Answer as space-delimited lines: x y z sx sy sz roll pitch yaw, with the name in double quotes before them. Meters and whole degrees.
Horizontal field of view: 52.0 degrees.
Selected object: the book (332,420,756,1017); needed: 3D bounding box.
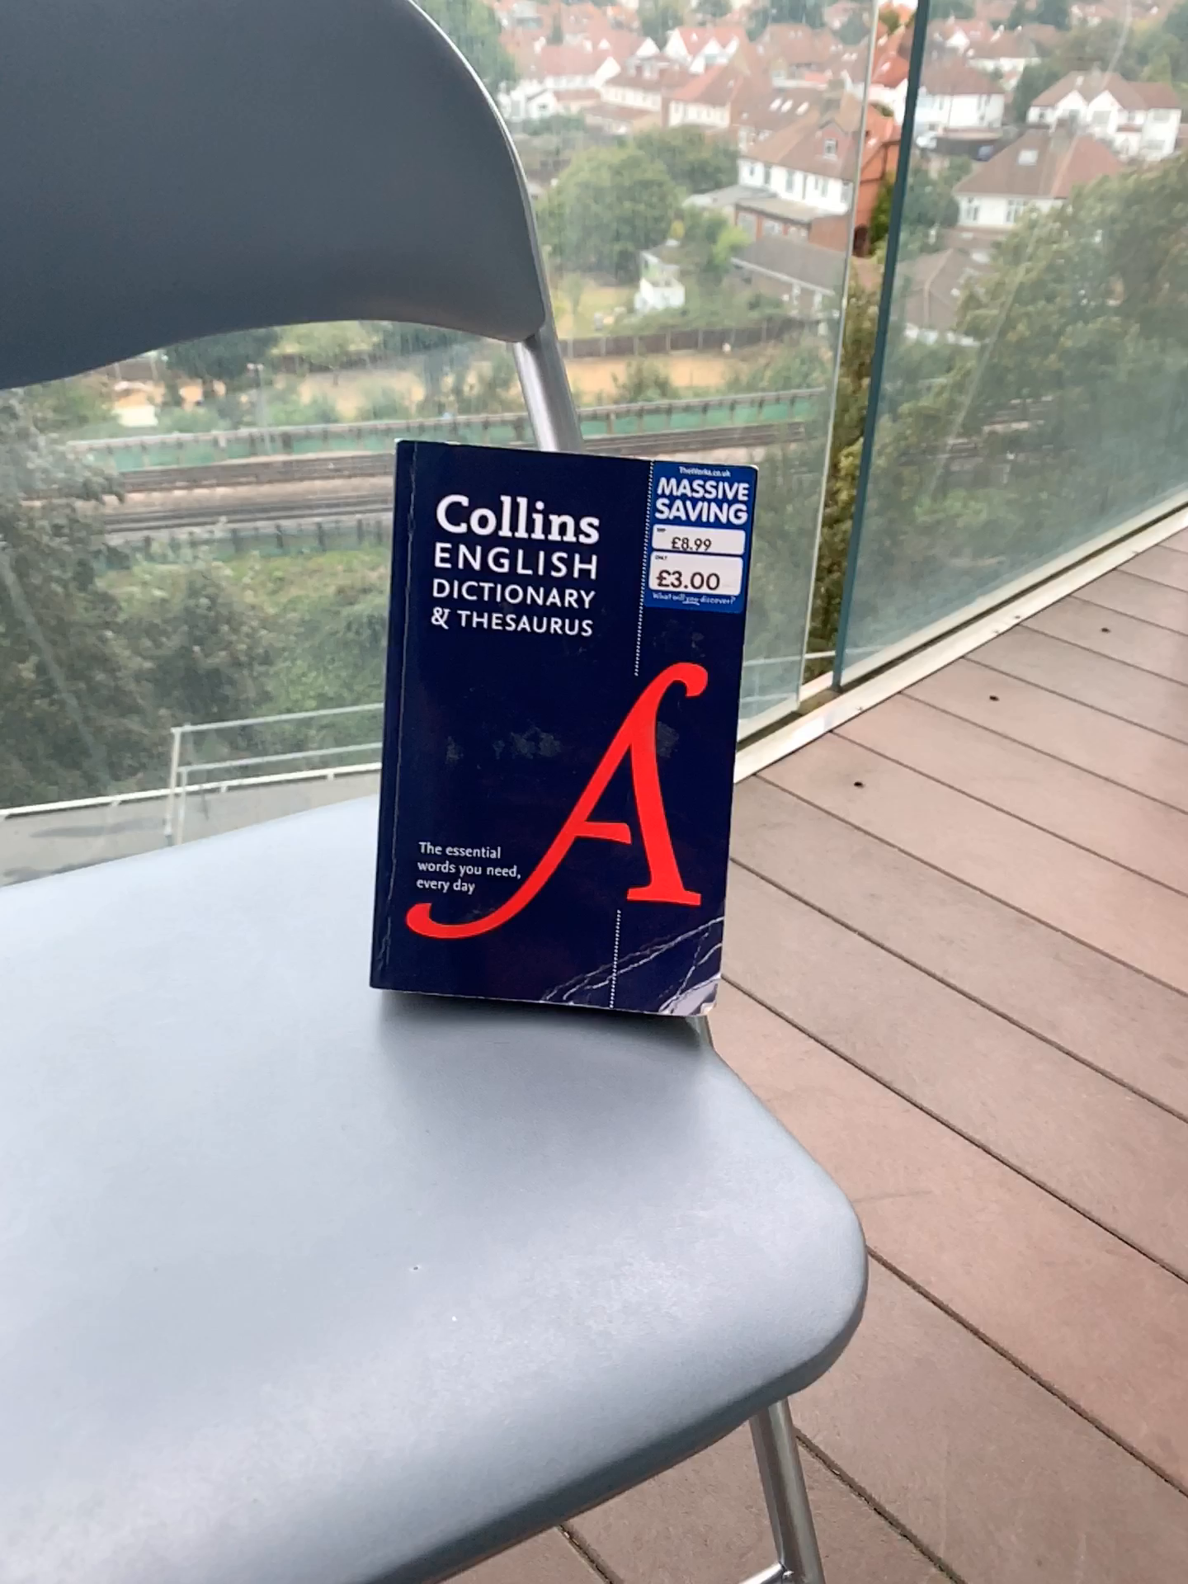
"book" -0.017 -0.028 0.451 0.140 0.200 0.060 3 6 5
